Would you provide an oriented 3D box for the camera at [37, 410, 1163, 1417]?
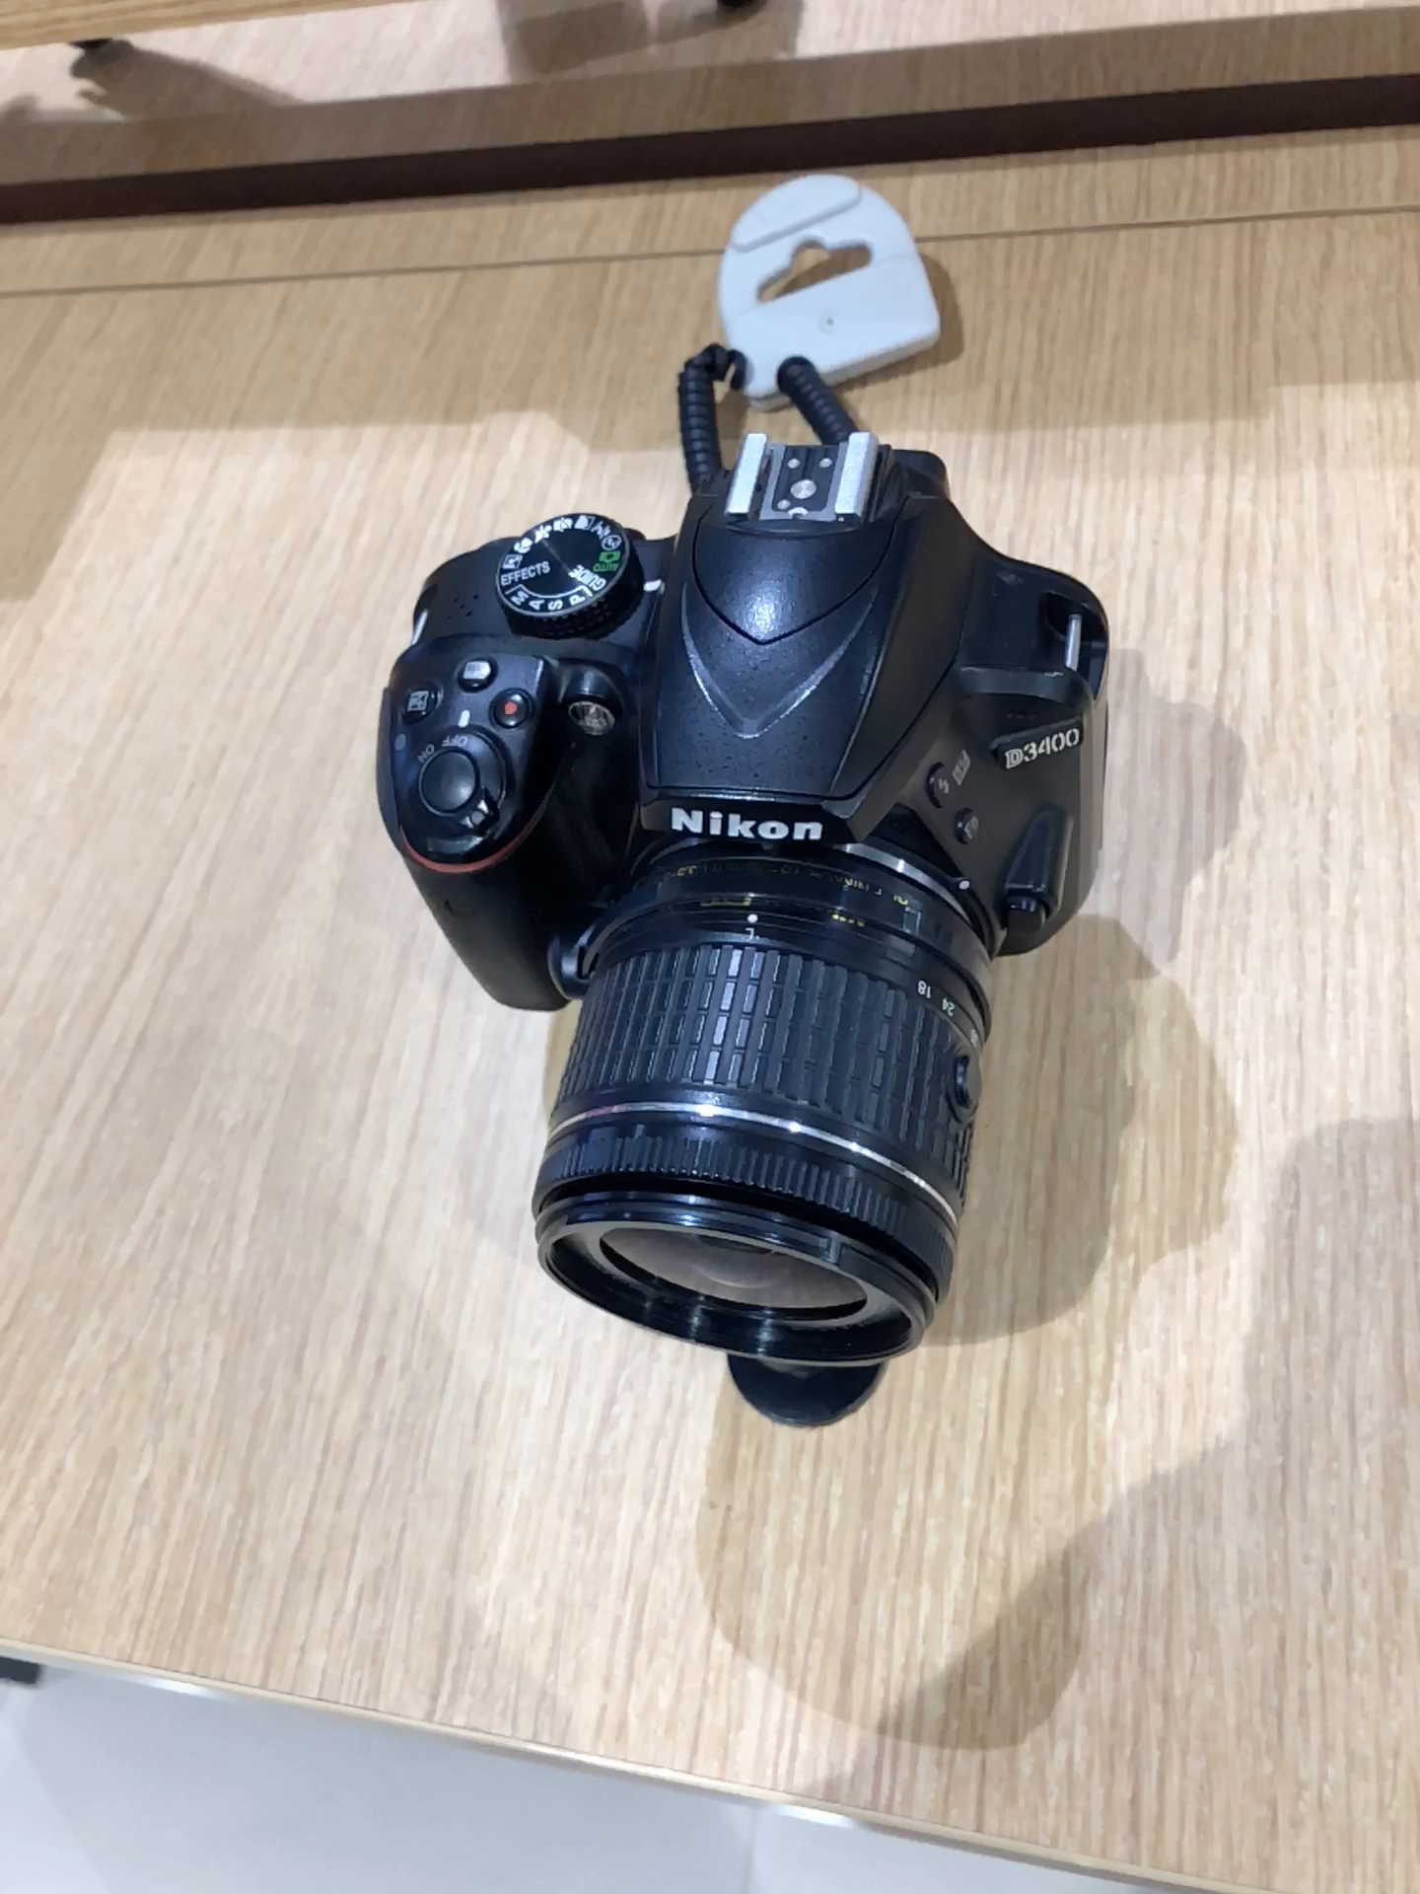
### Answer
[{"bbox_3d":[-0.002,-0.007,0.248,0.133,0.084,0.120,3,60,15],"label":"camera"}]
